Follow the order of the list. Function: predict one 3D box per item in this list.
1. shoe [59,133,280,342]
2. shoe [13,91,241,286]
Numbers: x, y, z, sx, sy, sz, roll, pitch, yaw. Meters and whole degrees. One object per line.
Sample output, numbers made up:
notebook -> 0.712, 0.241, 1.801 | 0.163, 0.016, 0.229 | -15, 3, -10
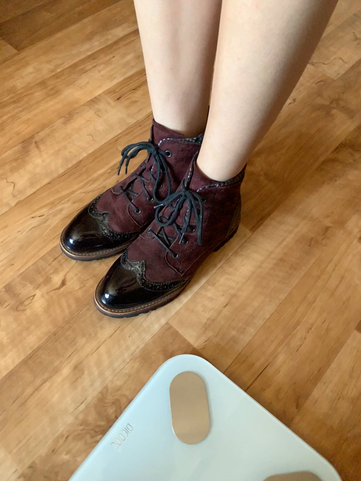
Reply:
shoe -> -0.009, -0.004, 0.494 | 0.260, 0.140, 0.100 | -38, 71, -22
shoe -> -0.062, -0.072, 0.508 | 0.260, 0.140, 0.100 | -32, 69, -20
